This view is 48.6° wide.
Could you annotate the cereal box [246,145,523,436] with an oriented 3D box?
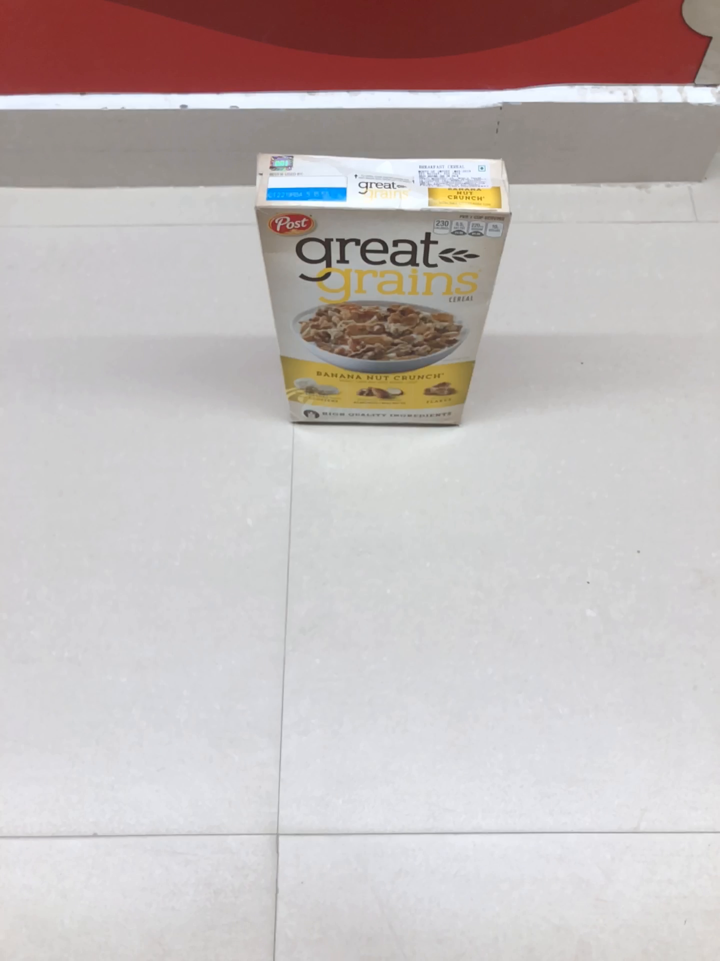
[{"bbox_3d":[0.012,-0.121,0.590,0.160,0.259,0.060,0,65,-1],"label":"cereal box"}]
